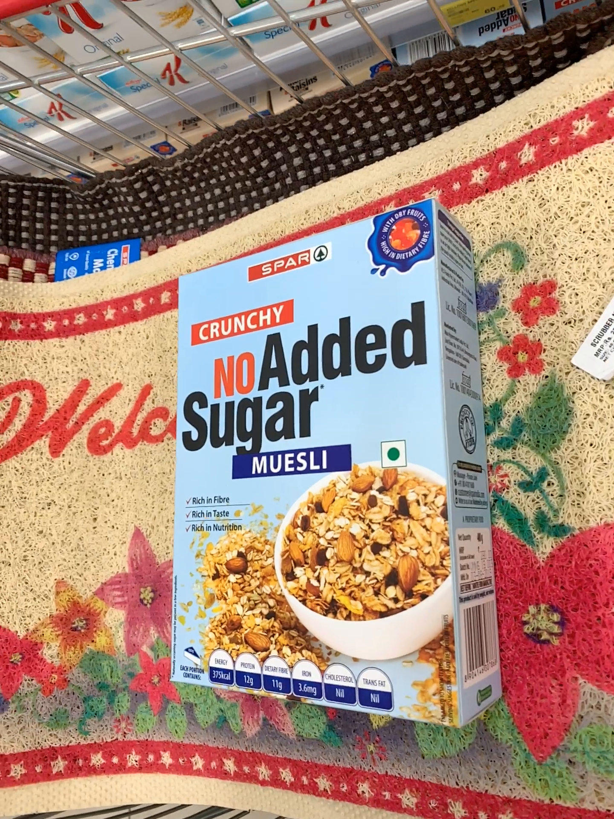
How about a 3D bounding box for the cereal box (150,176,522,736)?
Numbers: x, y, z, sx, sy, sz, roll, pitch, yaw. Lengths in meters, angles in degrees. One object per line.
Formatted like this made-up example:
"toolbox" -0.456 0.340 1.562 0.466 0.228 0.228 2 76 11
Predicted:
"cereal box" 0.003 0.024 0.327 0.181 0.050 0.230 -9 77 33
